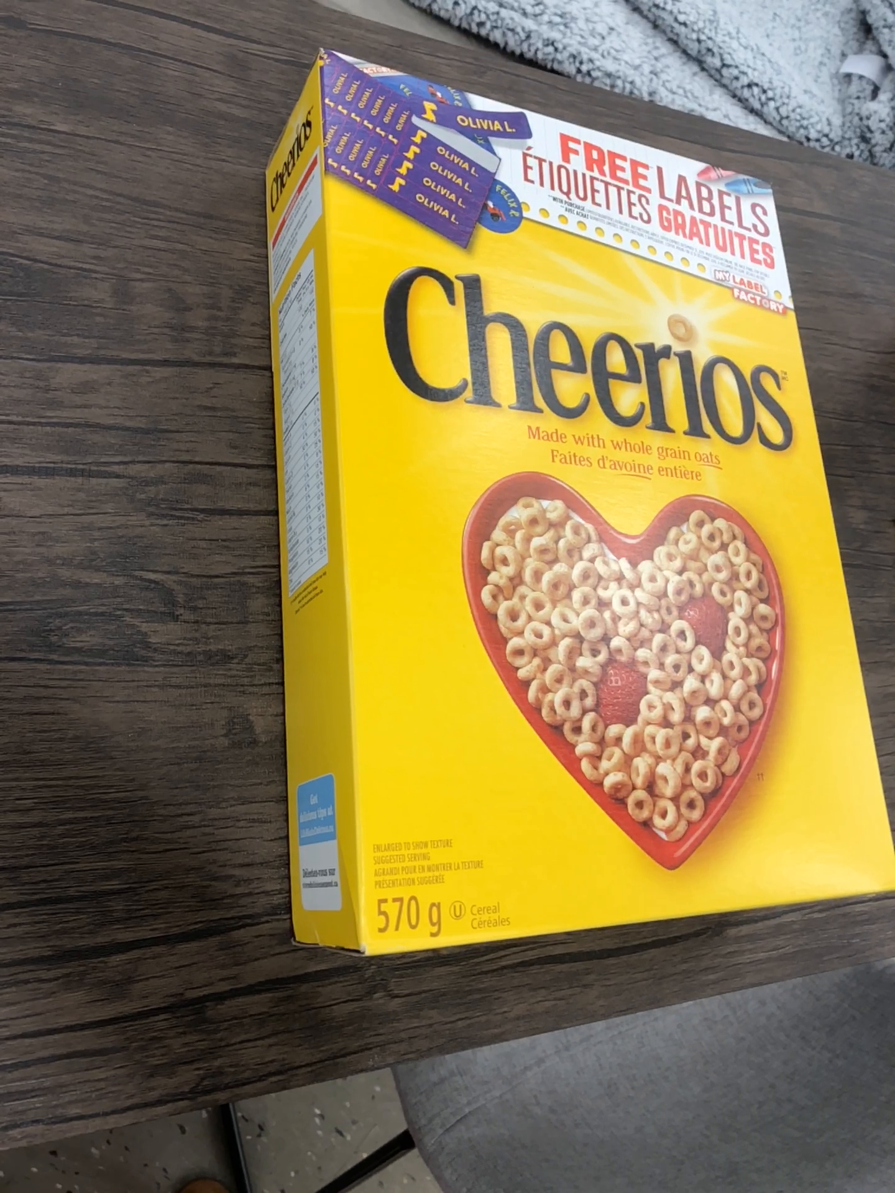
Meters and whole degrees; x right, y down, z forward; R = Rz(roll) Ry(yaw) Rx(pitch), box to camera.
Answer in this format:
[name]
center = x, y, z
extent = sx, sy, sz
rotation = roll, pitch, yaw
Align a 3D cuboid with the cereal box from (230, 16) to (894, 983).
[cereal box]
center = 0.044, -0.036, 0.424
extent = 0.241, 0.100, 0.340
rotation = 2, 74, -26
